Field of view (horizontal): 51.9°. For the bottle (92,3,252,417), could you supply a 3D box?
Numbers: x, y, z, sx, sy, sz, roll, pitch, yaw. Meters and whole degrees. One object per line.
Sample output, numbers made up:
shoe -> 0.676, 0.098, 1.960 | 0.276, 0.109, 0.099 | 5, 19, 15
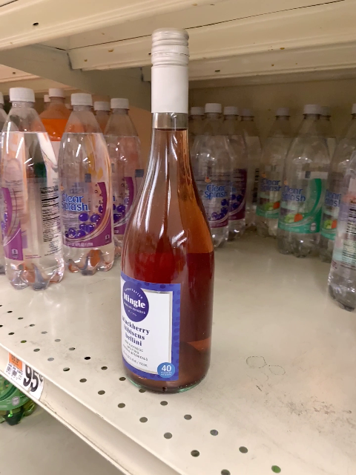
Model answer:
bottle -> -0.006, -0.013, 0.317 | 0.090, 0.299, 0.080 | 16, 22, 42
